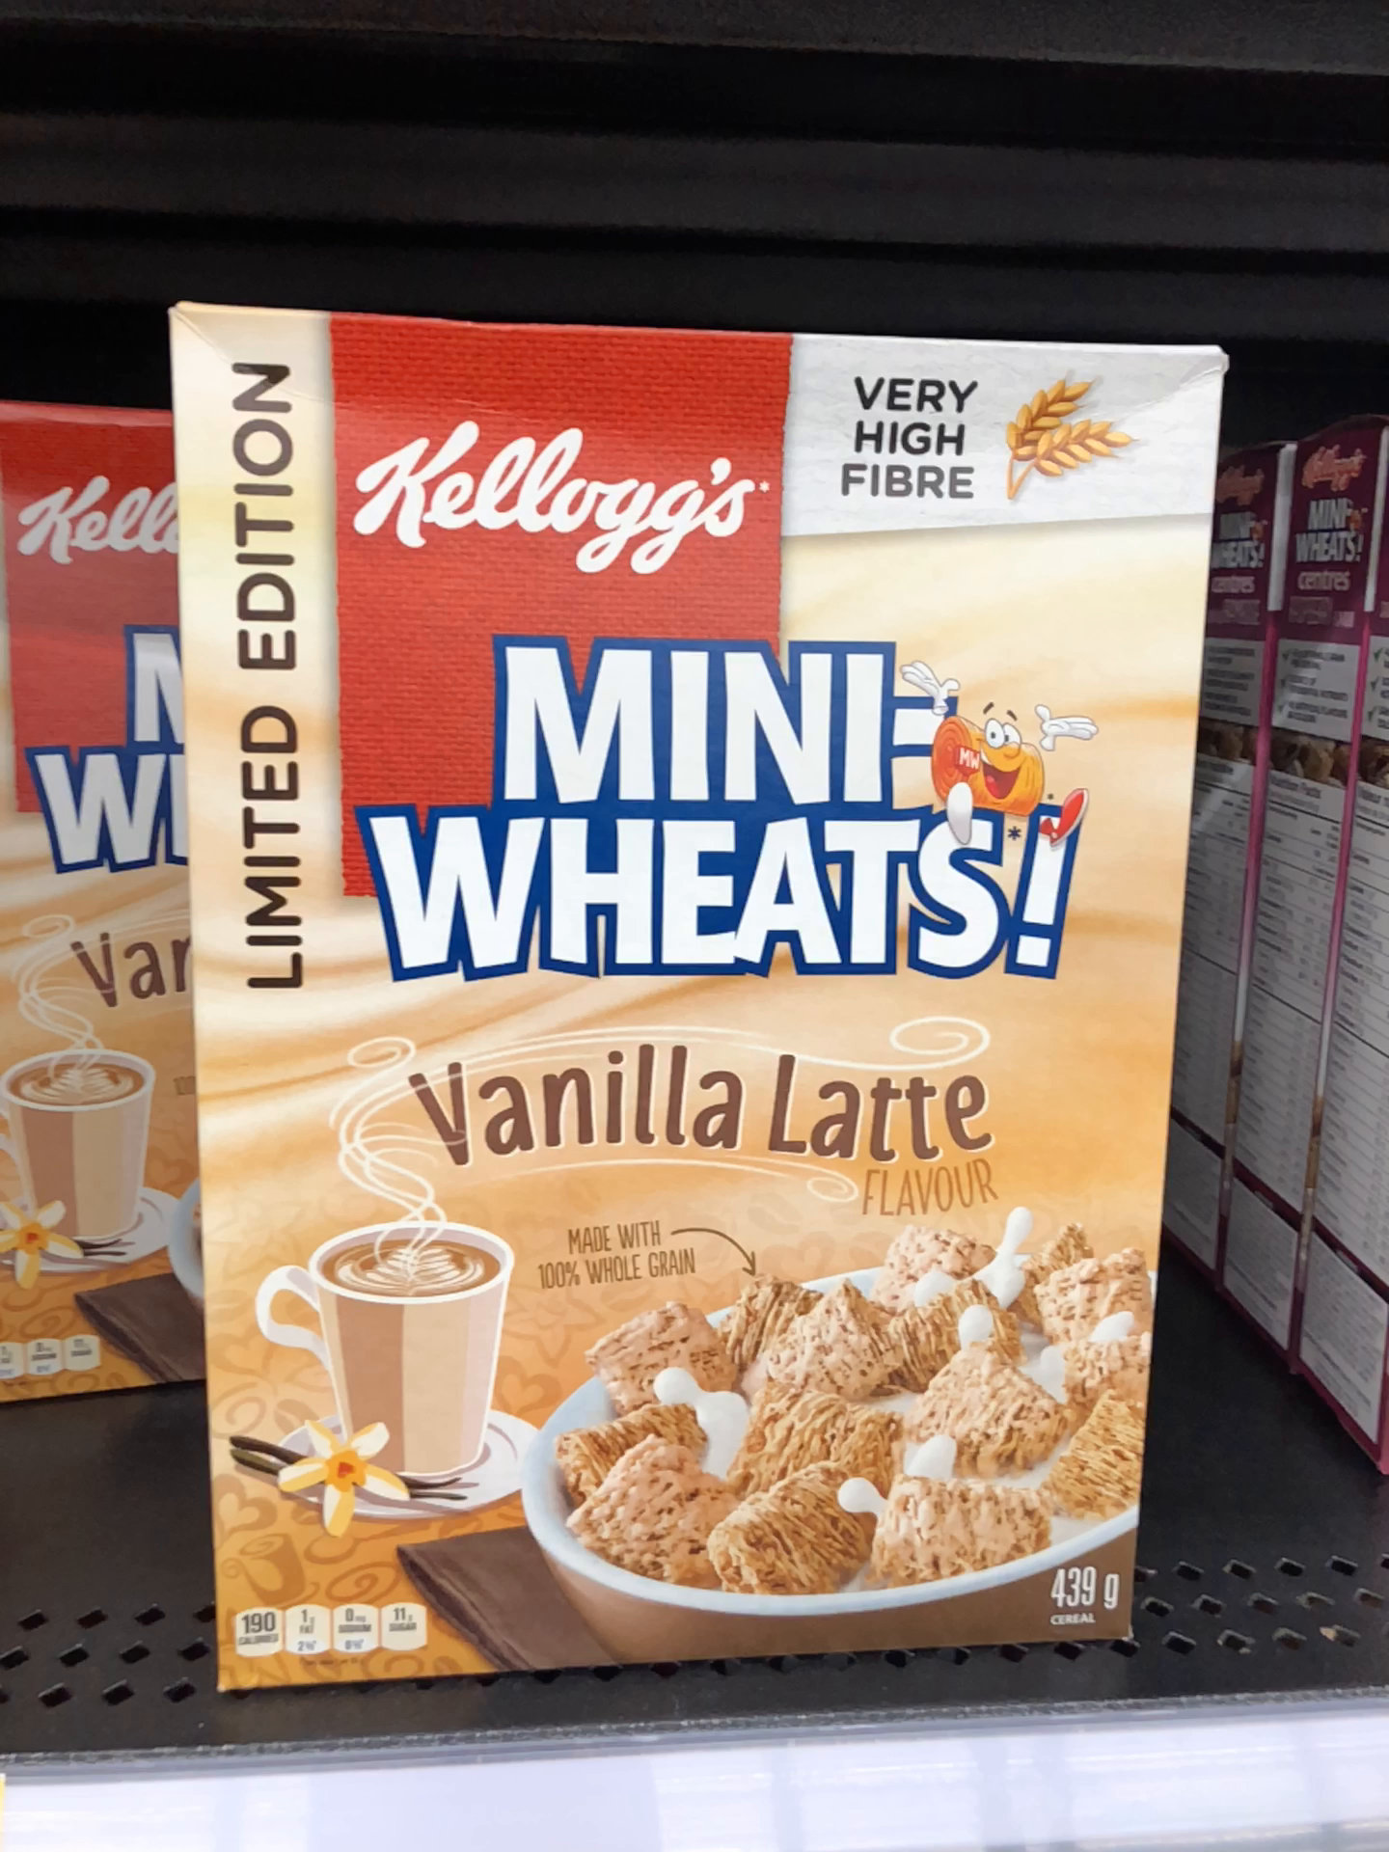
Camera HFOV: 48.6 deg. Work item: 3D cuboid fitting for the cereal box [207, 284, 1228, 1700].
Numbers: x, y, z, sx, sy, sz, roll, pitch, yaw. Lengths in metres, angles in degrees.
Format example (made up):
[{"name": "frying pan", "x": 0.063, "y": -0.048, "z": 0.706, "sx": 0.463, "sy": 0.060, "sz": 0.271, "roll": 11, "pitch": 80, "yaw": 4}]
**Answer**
[{"name": "cereal box", "x": 0.003, "y": 0.017, "z": 0.336, "sx": 0.190, "sy": 0.279, "sz": 0.060, "roll": 0, "pitch": 9, "yaw": -5}]
